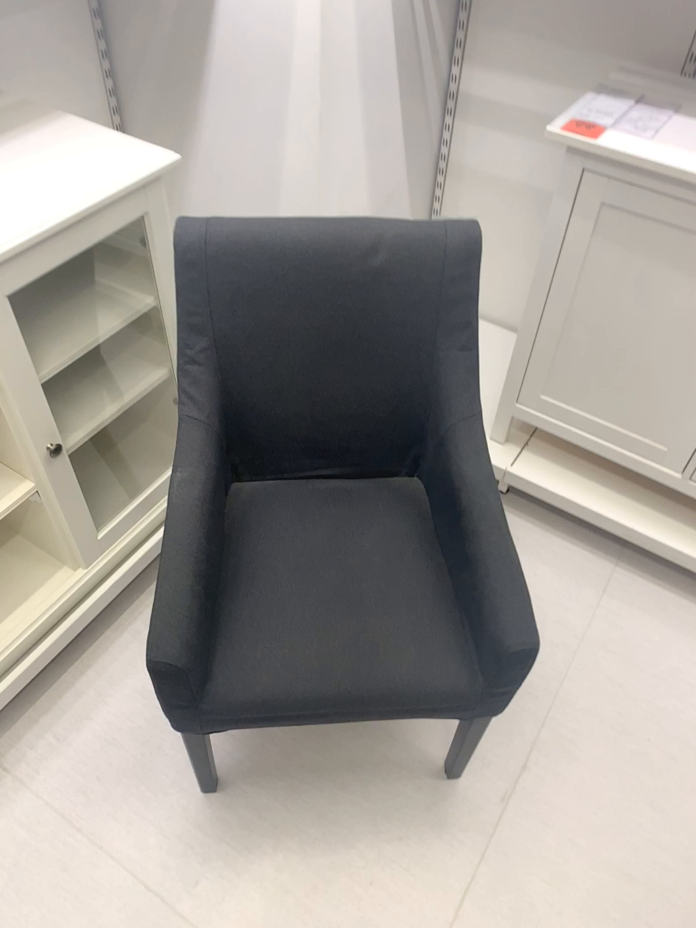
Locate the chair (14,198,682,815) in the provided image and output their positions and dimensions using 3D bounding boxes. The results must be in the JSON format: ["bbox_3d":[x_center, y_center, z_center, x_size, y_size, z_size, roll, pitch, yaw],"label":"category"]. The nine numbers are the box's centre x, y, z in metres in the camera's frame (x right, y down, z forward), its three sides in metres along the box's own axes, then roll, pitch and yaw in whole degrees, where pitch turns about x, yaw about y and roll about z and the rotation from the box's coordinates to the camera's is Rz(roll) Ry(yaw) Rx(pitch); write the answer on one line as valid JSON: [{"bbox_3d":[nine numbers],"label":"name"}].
[{"bbox_3d":[-0.026,0.130,1.252,0.660,0.947,0.612,-1,48,-4],"label":"chair"}]
